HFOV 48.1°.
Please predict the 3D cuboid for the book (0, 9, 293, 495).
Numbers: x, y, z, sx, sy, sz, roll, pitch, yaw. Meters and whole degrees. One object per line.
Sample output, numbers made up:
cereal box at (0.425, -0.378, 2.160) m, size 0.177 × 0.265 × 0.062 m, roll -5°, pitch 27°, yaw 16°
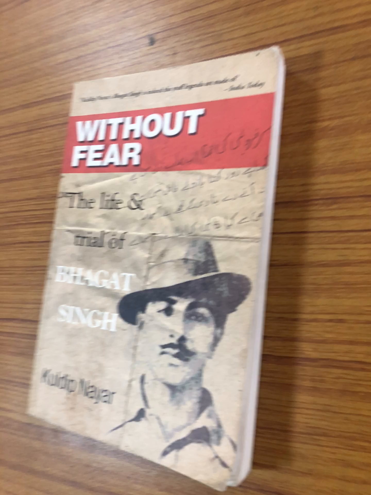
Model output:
book at (-0.027, -0.002, 0.218) m, size 0.141 × 0.030 × 0.210 m, roll 3°, pitch 84°, yaw 29°
